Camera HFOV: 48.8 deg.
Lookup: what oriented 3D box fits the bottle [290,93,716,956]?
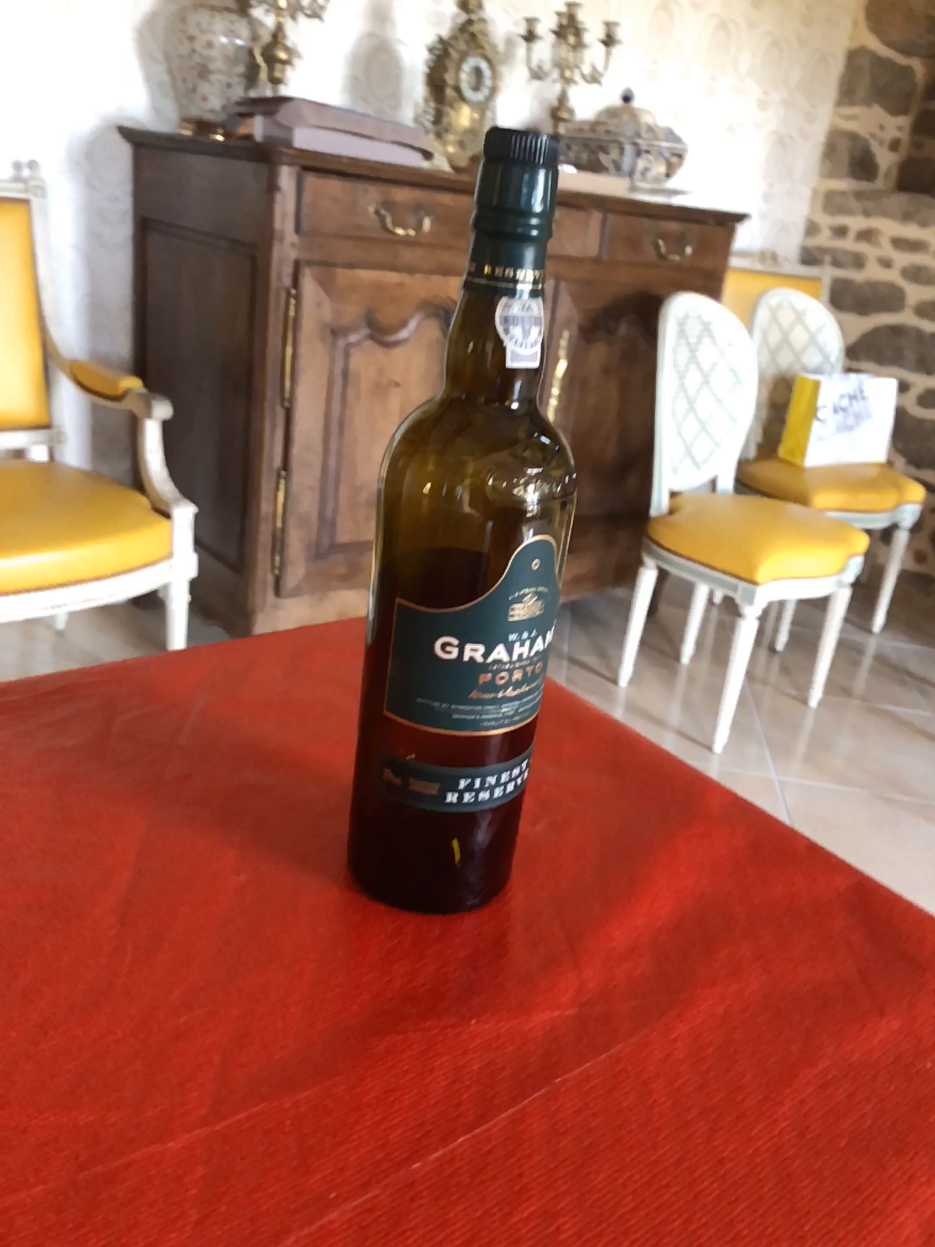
[{"bbox_3d":[0.002,-0.032,0.401,0.090,0.298,0.090,7,22,-3],"label":"bottle"}]
